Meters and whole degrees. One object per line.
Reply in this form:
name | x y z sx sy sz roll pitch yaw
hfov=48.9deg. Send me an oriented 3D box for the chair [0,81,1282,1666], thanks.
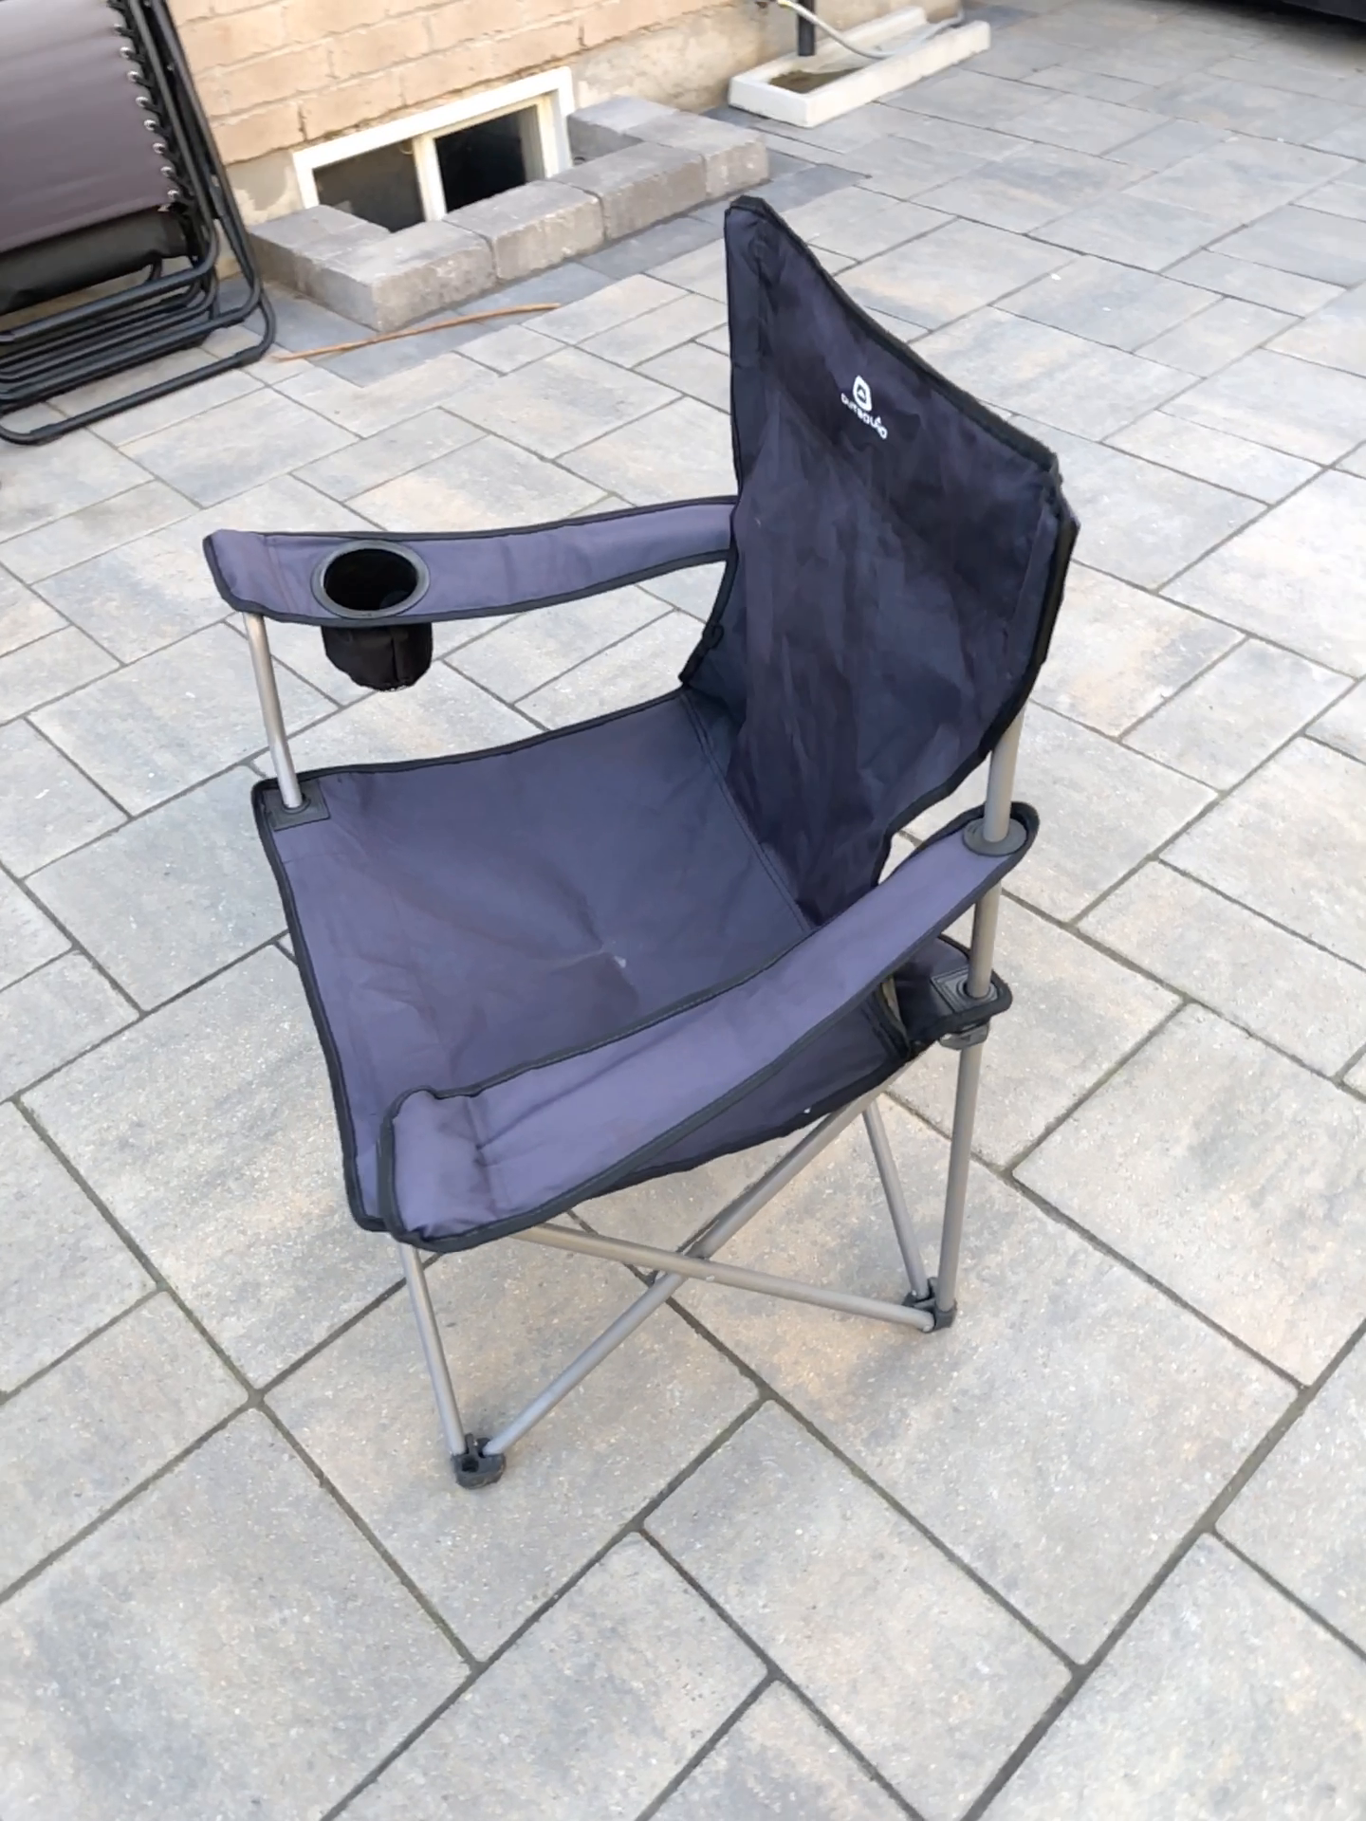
chair | -0.096 -0.040 1.126 0.570 0.817 0.693 -17 45 -12
